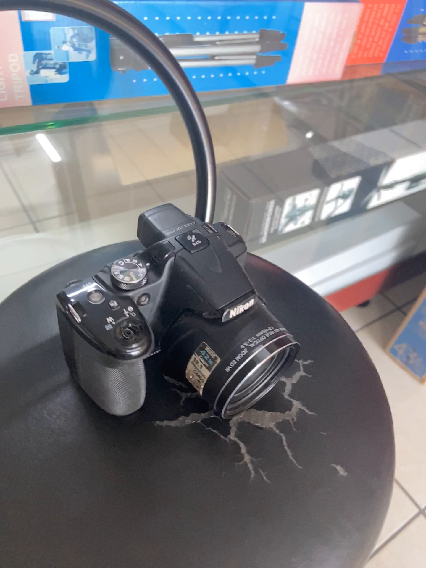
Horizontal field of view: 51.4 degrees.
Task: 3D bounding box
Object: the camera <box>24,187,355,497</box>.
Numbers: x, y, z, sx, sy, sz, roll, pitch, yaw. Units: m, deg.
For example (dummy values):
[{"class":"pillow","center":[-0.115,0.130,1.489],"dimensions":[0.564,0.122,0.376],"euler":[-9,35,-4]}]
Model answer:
[{"class":"camera","center":[-0.015,0.020,0.261],"dimensions":[0.131,0.070,0.120],"euler":[-28,56,-32]}]
